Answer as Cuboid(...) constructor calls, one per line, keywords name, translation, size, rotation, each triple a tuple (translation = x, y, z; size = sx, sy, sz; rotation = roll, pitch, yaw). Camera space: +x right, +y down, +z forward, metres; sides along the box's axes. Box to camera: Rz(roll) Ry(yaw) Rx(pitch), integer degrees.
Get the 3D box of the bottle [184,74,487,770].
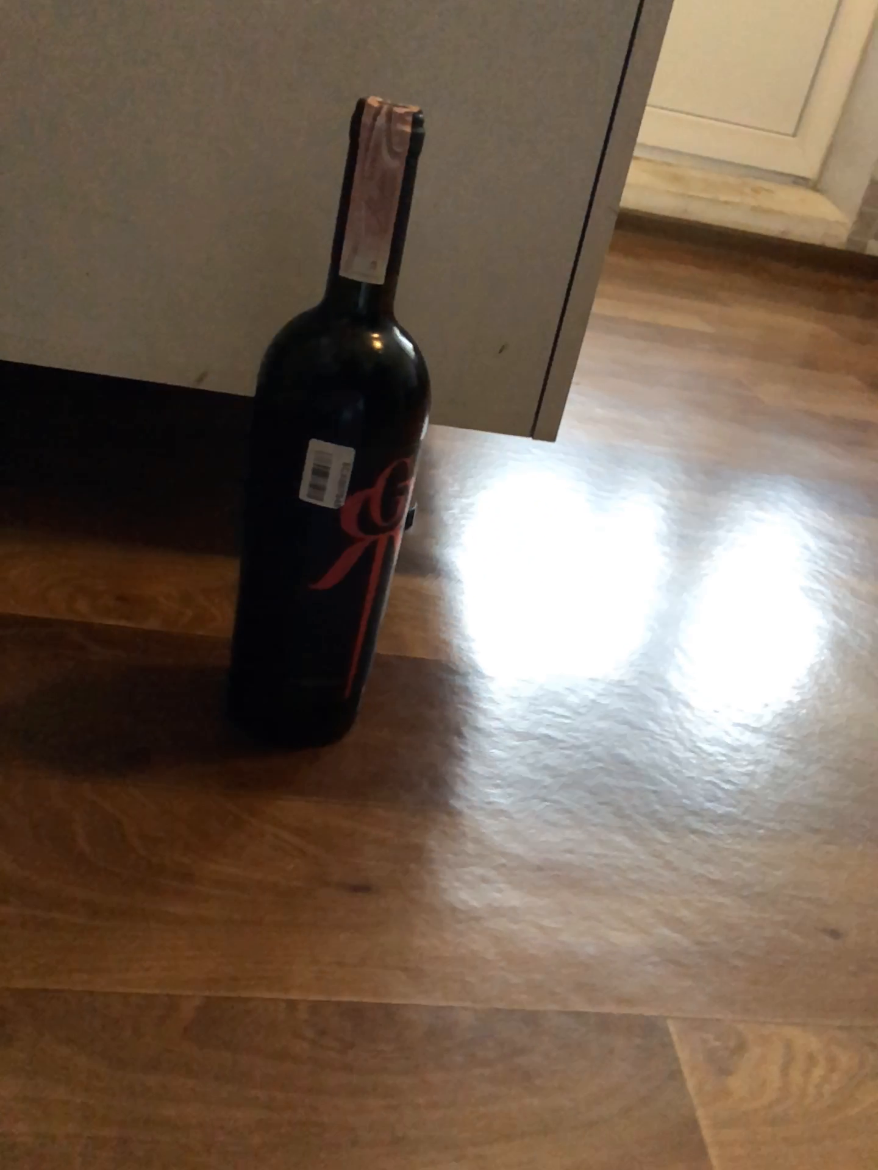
Cuboid(name="bottle", translation=(-0.056, -0.063, 0.450), size=(0.090, 0.297, 0.091), rotation=(9, 29, -5))
